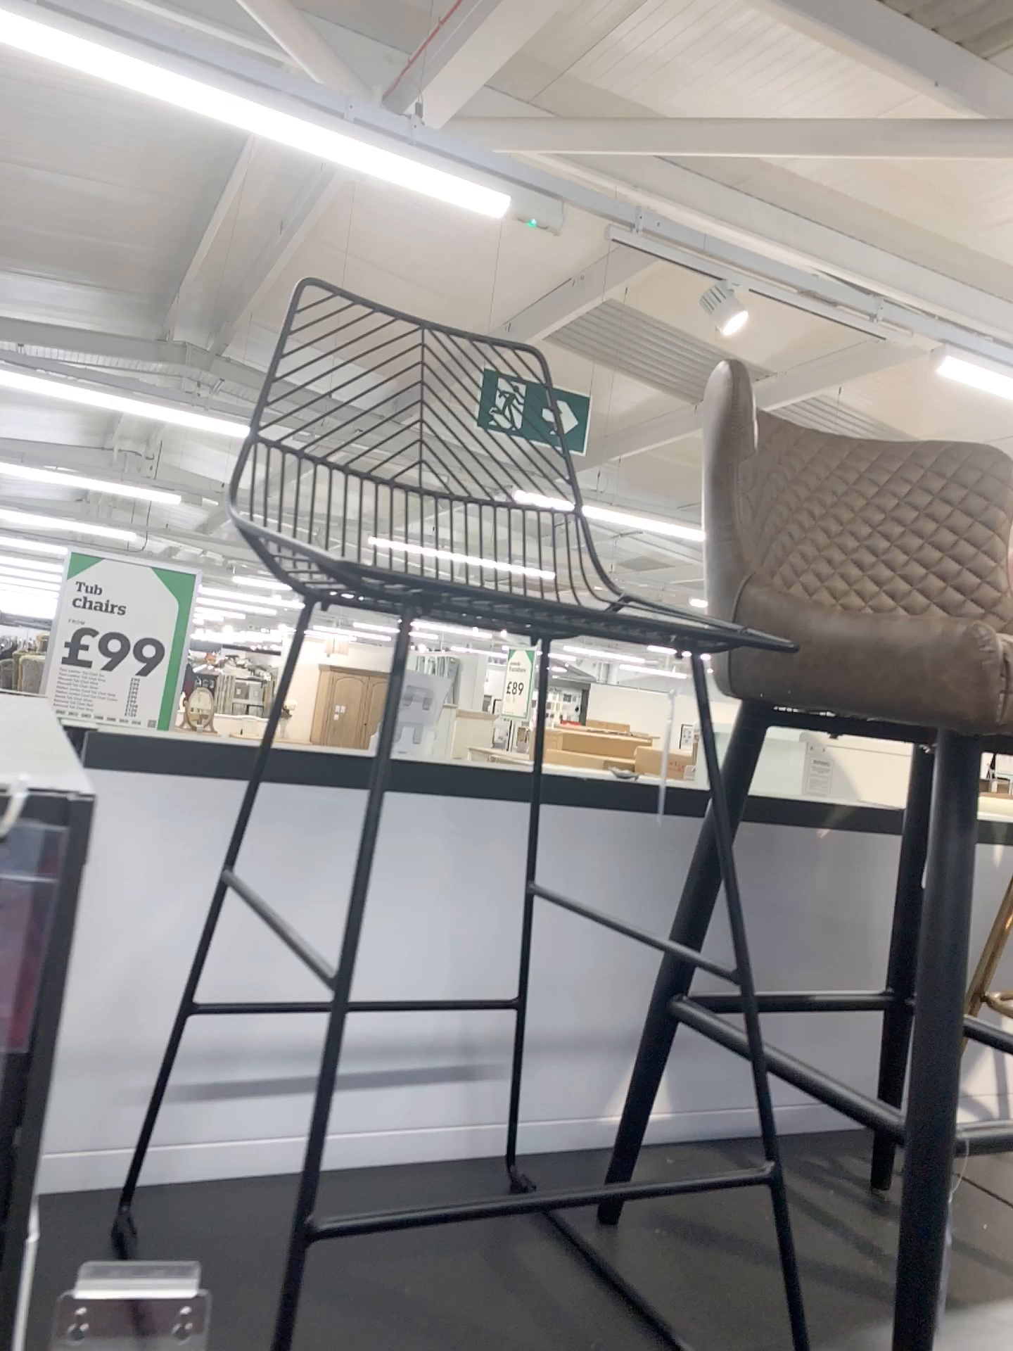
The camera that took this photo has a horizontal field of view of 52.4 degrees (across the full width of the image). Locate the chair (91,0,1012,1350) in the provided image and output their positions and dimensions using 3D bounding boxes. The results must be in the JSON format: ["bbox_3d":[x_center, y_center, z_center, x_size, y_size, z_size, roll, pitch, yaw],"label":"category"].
[{"bbox_3d":[-0.001,0.079,0.915,0.508,0.969,0.528,9,-2,-27],"label":"chair"}]
